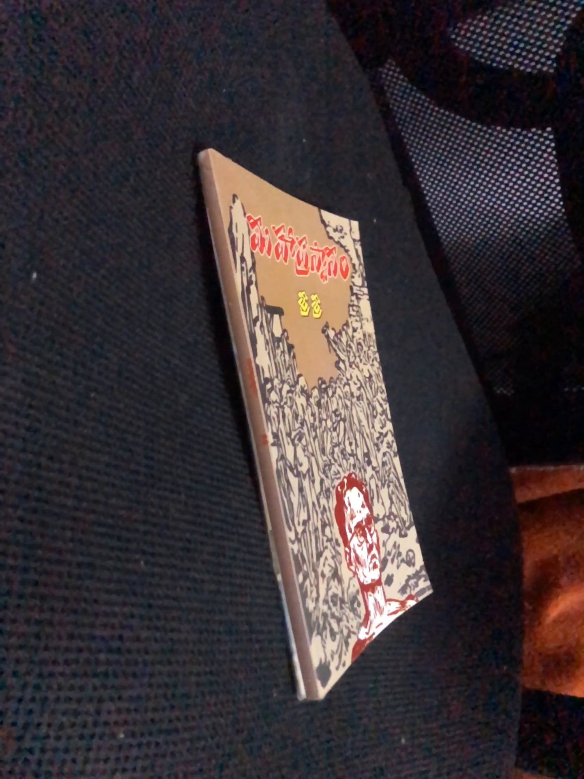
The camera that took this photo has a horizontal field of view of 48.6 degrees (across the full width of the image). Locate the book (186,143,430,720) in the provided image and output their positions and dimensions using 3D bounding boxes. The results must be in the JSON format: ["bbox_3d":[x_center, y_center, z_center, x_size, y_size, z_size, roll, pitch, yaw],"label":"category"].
[{"bbox_3d":[0.017,0.012,0.309,0.141,0.018,0.220,-4,84,-61],"label":"book"}]
